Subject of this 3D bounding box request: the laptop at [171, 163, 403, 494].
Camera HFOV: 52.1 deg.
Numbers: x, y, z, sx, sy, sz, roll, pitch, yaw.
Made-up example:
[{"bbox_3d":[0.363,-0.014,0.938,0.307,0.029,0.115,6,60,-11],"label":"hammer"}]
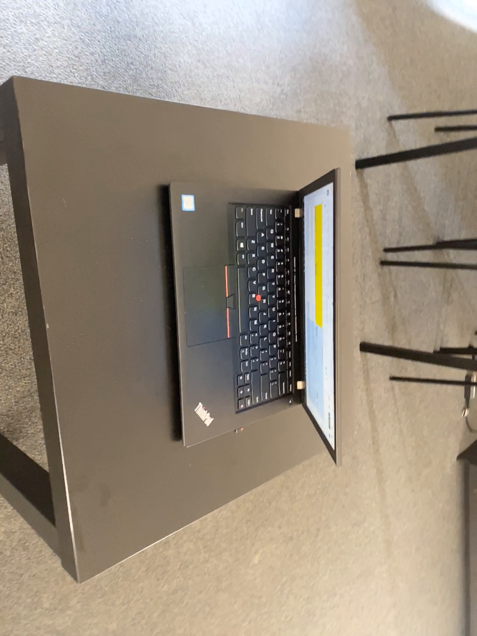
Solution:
[{"bbox_3d":[0.067,-0.003,0.613,0.224,0.165,0.332,-10,102,-40],"label":"laptop"}]
